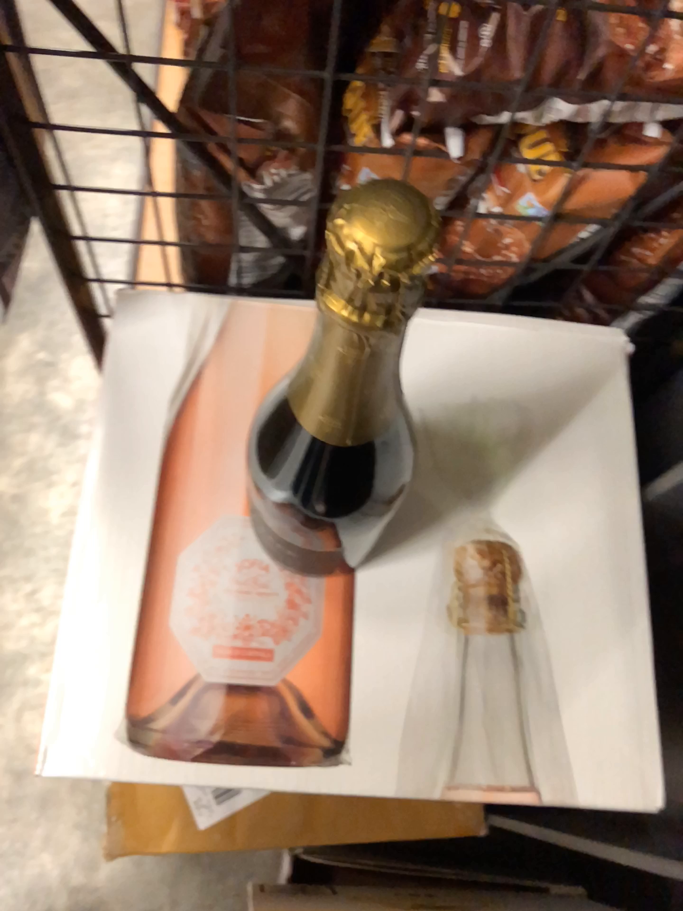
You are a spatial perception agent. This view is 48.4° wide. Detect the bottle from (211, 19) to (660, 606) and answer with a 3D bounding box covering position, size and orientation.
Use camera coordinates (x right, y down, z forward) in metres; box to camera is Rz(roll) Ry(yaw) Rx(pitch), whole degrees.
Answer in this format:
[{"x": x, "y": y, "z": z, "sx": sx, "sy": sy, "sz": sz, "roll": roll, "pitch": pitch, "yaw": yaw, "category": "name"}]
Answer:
[{"x": 0.006, "y": -0.018, "z": 0.340, "sx": 0.090, "sy": 0.310, "sz": 0.090, "roll": 2, "pitch": 69, "yaw": -6, "category": "bottle"}]
